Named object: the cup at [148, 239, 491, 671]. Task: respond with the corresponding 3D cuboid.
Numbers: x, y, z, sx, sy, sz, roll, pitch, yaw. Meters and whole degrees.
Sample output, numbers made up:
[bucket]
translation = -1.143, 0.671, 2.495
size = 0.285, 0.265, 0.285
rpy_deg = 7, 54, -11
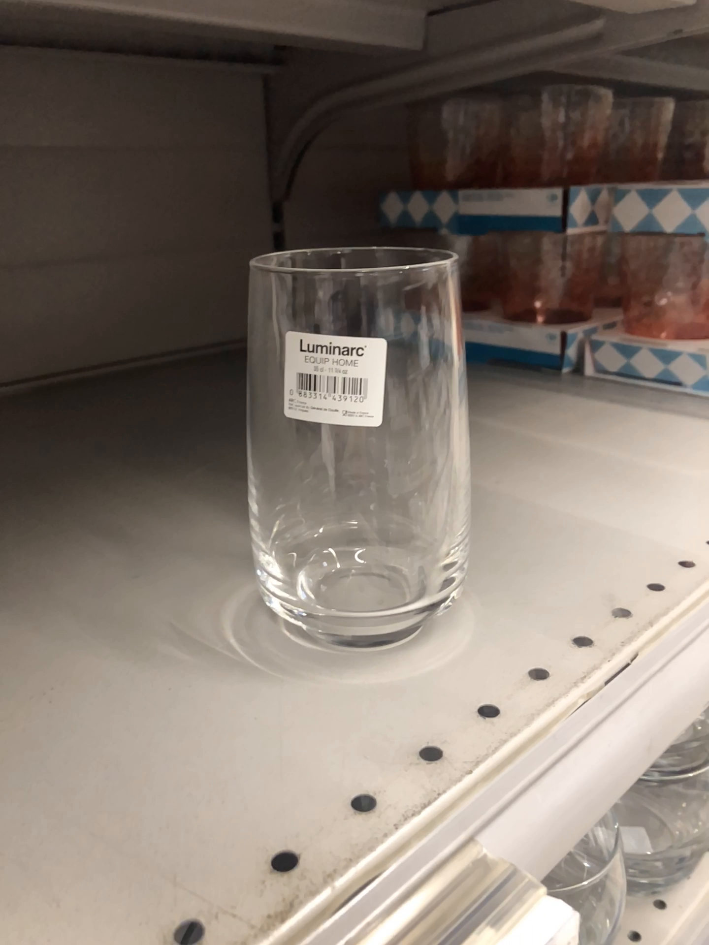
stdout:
[cup]
translation = -0.005, -0.013, 0.252
size = 0.076, 0.112, 0.077
rpy_deg = -1, 20, 0
